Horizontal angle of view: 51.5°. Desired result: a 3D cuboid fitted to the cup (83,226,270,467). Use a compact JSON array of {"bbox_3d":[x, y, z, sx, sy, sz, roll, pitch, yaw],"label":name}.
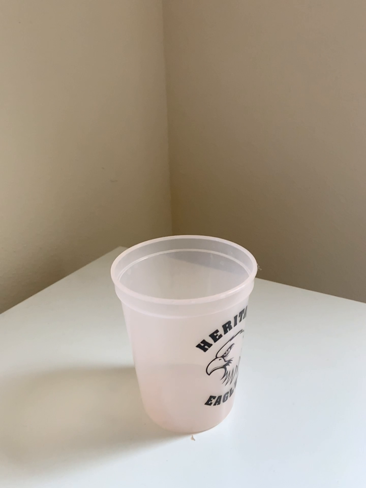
[{"bbox_3d":[-0.002,0.061,0.264,0.080,0.110,0.090,19,31,40],"label":"cup"}]
